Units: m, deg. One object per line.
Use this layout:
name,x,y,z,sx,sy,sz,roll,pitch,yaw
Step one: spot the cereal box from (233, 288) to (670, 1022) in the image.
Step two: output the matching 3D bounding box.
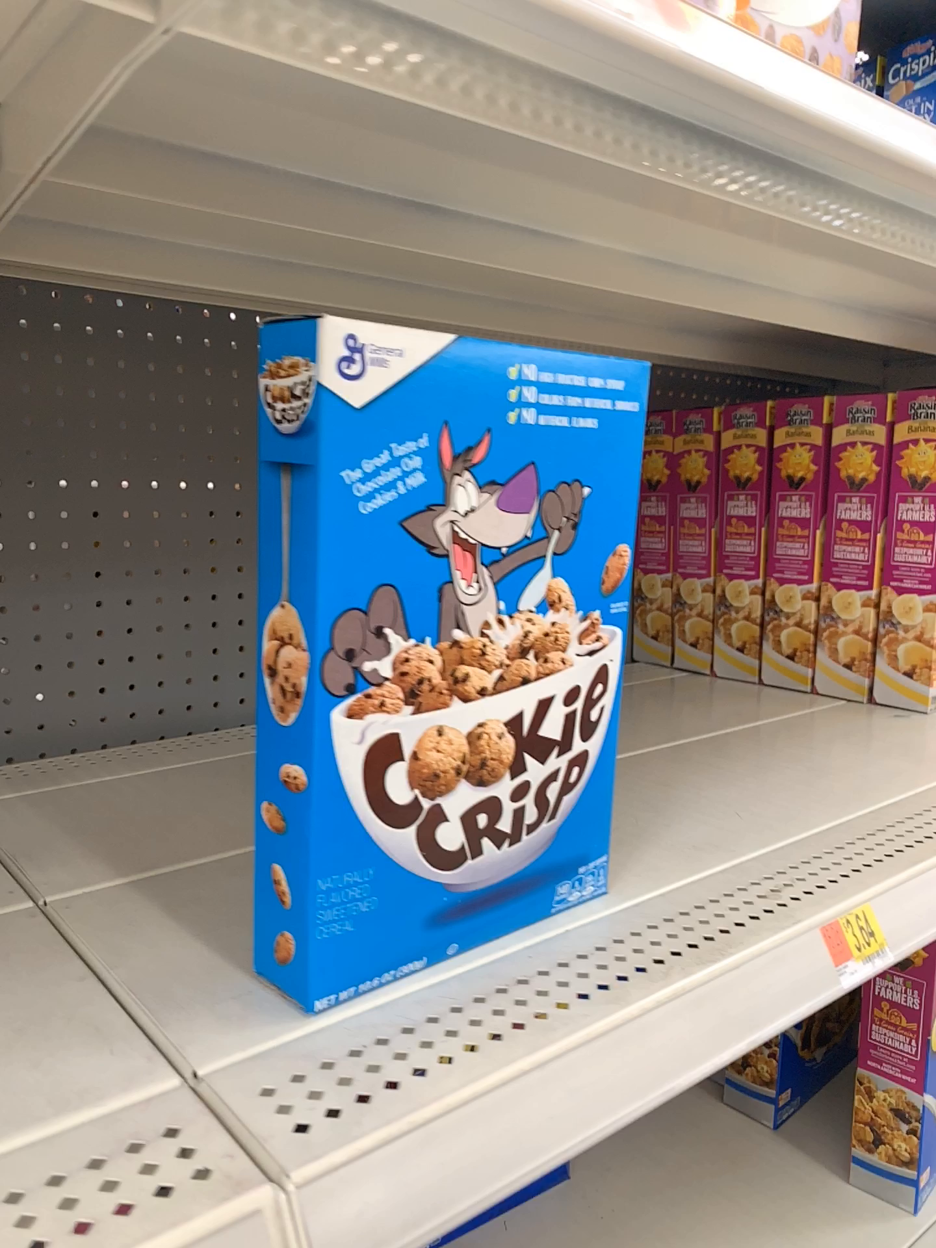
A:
cereal box,-0.001,0.007,0.447,0.210,0.279,0.050,-6,13,-42
